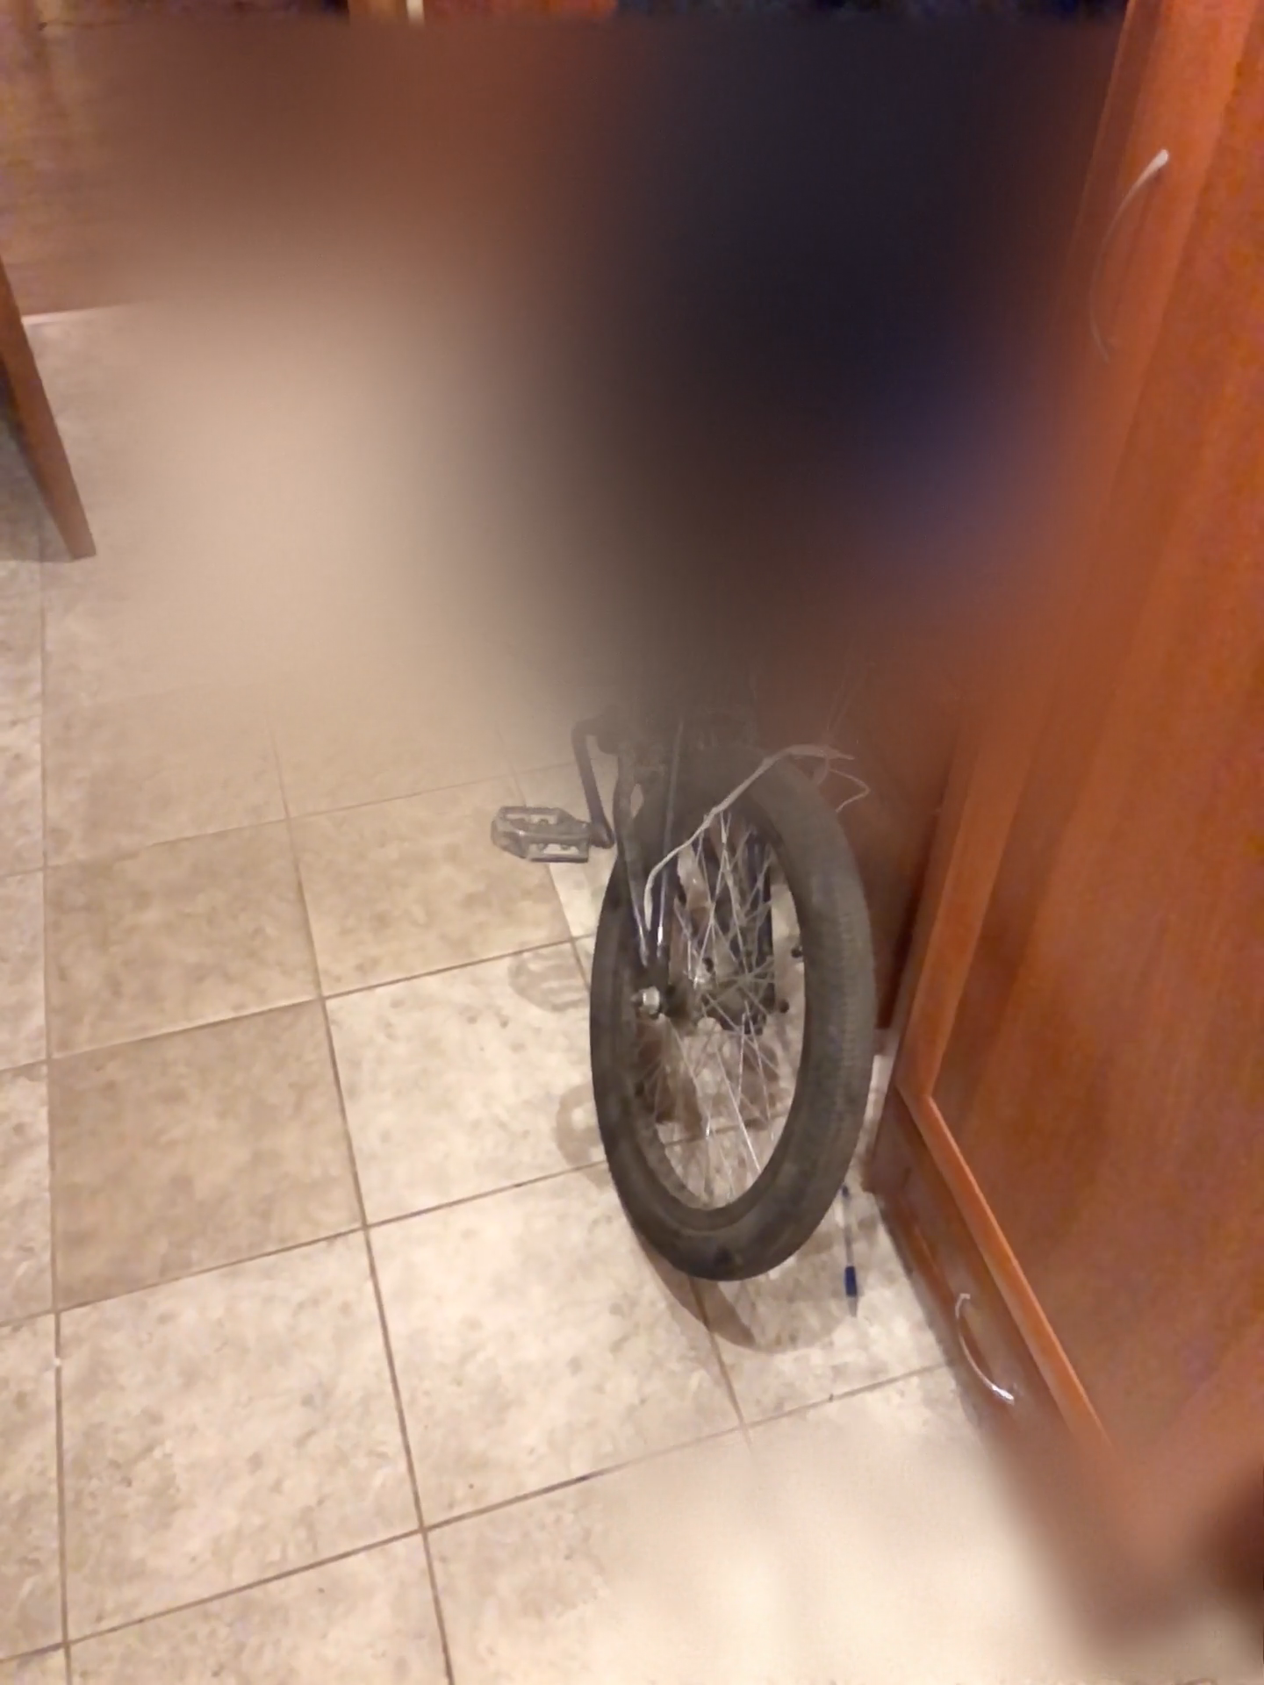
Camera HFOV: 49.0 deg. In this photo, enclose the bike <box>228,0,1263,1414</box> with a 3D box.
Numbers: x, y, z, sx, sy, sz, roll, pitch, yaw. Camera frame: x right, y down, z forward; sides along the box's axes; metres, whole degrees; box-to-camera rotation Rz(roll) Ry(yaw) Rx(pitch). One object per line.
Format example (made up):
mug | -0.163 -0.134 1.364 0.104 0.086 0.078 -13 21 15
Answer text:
bike | 0.000 -0.318 1.402 0.526 0.853 1.359 -10 50 -10
